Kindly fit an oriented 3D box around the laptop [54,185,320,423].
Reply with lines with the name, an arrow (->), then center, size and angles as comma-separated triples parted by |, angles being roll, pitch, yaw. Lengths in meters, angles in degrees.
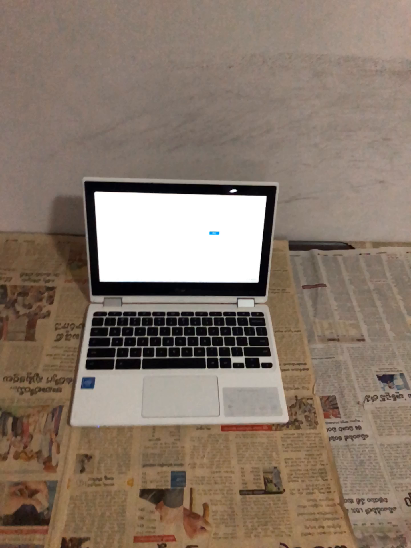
laptop -> -0.027, 0.031, 0.613 | 0.268, 0.168, 0.279 | 0, 47, -5
